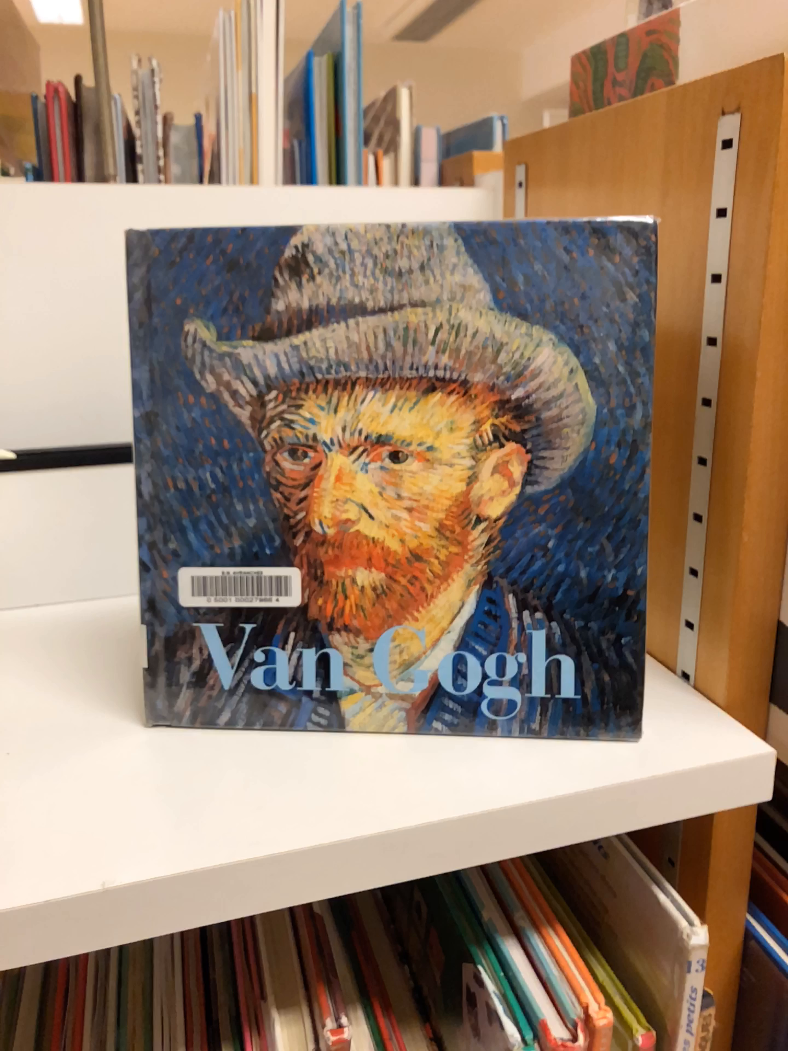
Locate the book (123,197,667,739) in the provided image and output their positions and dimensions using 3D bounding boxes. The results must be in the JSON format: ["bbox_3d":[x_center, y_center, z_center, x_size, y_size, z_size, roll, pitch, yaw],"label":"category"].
[{"bbox_3d":[-0.001,-0.019,0.337,0.200,0.198,0.013,0,6,6],"label":"book"}]
